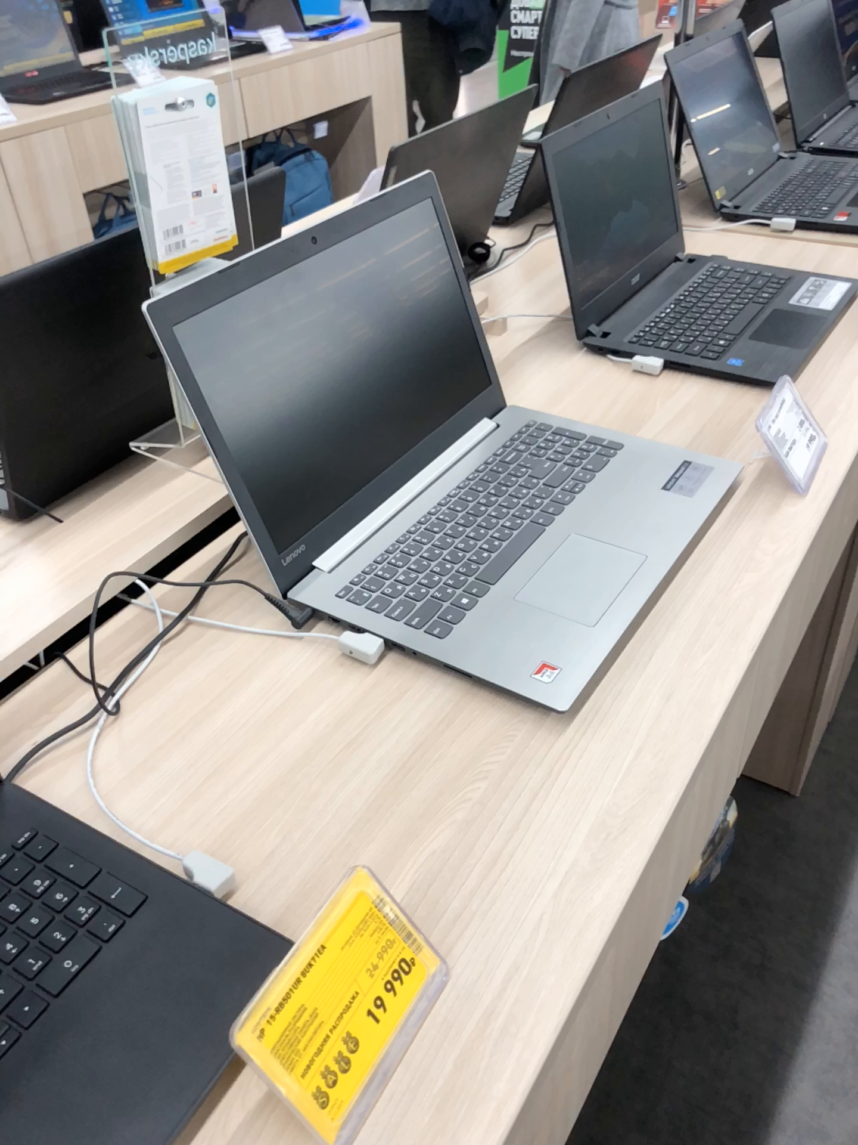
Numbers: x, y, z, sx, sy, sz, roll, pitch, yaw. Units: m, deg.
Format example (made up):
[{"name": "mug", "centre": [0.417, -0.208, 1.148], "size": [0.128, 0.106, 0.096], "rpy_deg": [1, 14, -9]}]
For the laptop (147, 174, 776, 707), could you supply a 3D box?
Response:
[{"name": "laptop", "centre": [0.048, -0.150, 0.801], "size": [0.343, 0.235, 0.381], "rpy_deg": [19, 42, 27]}]
